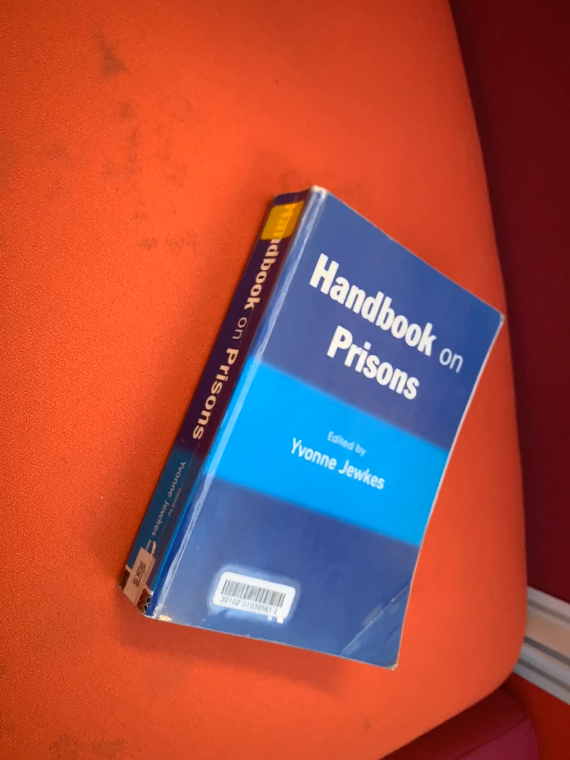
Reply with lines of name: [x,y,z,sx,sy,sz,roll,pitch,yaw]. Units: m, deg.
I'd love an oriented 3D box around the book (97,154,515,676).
book: [0.031,0.032,0.392,0.201,0.060,0.270,27,78,-31]
